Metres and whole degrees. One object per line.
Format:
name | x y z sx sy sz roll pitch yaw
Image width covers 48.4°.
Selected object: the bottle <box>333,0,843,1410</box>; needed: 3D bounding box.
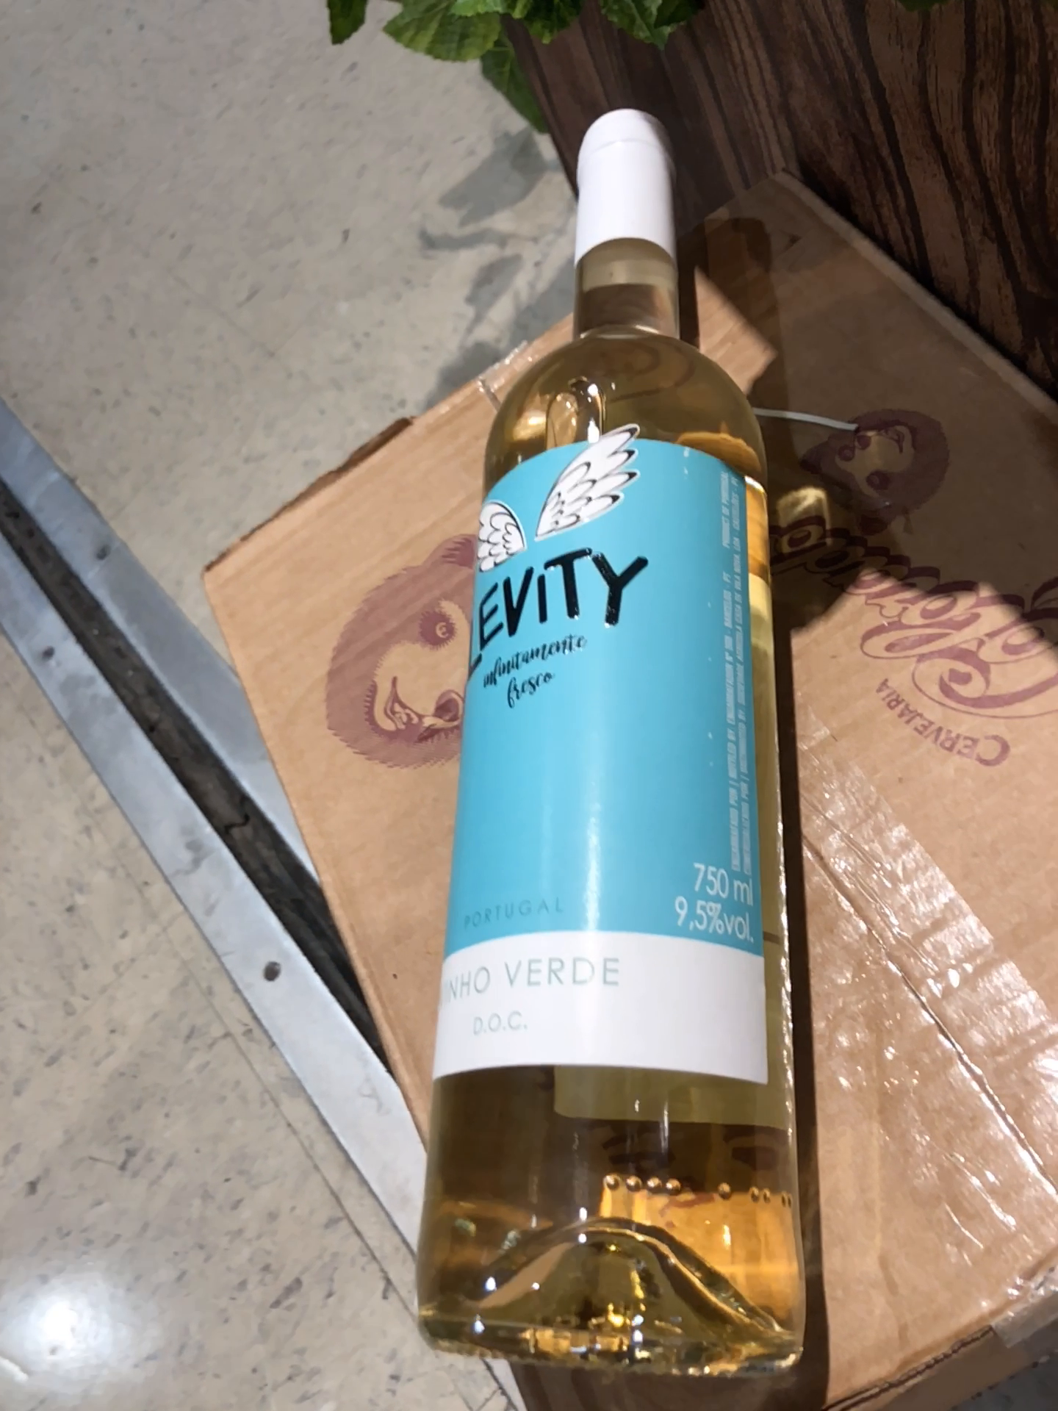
bottle | 0.019 -0.034 0.283 0.080 0.050 0.341 -8 64 22
